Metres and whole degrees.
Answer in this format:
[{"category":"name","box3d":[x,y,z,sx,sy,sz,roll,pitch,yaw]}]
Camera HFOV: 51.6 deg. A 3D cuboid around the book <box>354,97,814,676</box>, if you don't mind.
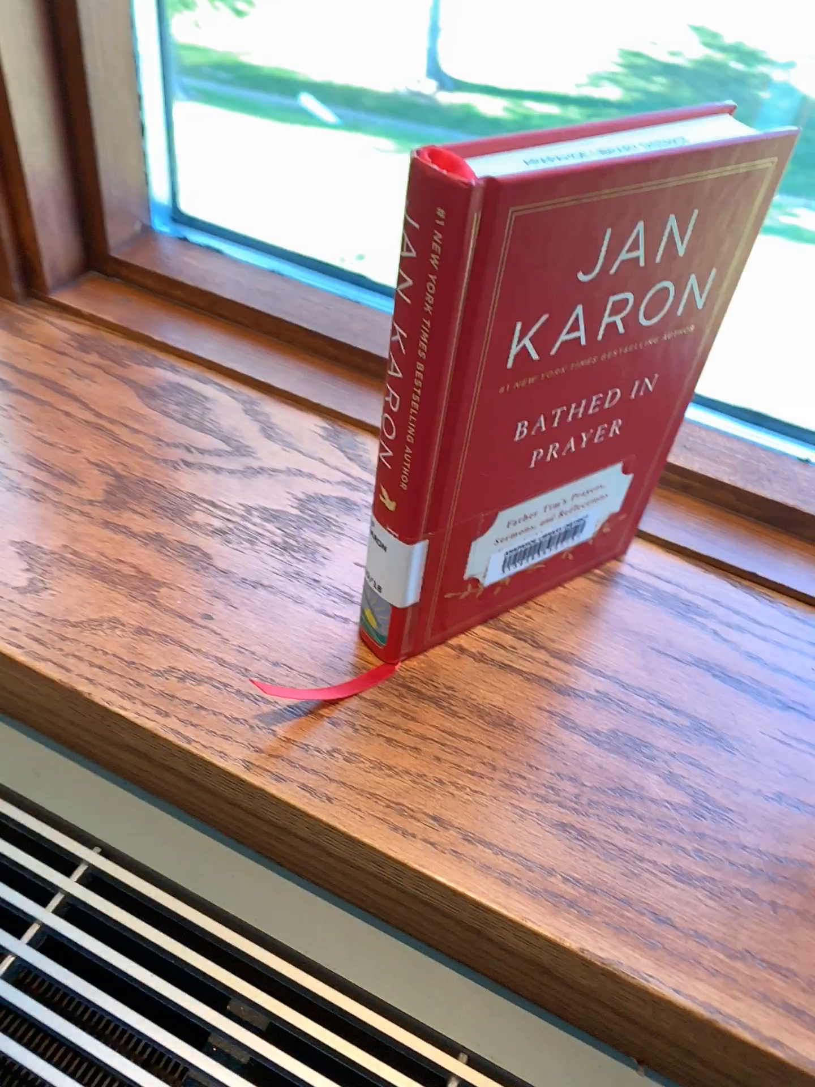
[{"category":"book","box3d":[0.051,-0.046,0.280,0.135,0.169,0.028,-22,50,-28]}]
